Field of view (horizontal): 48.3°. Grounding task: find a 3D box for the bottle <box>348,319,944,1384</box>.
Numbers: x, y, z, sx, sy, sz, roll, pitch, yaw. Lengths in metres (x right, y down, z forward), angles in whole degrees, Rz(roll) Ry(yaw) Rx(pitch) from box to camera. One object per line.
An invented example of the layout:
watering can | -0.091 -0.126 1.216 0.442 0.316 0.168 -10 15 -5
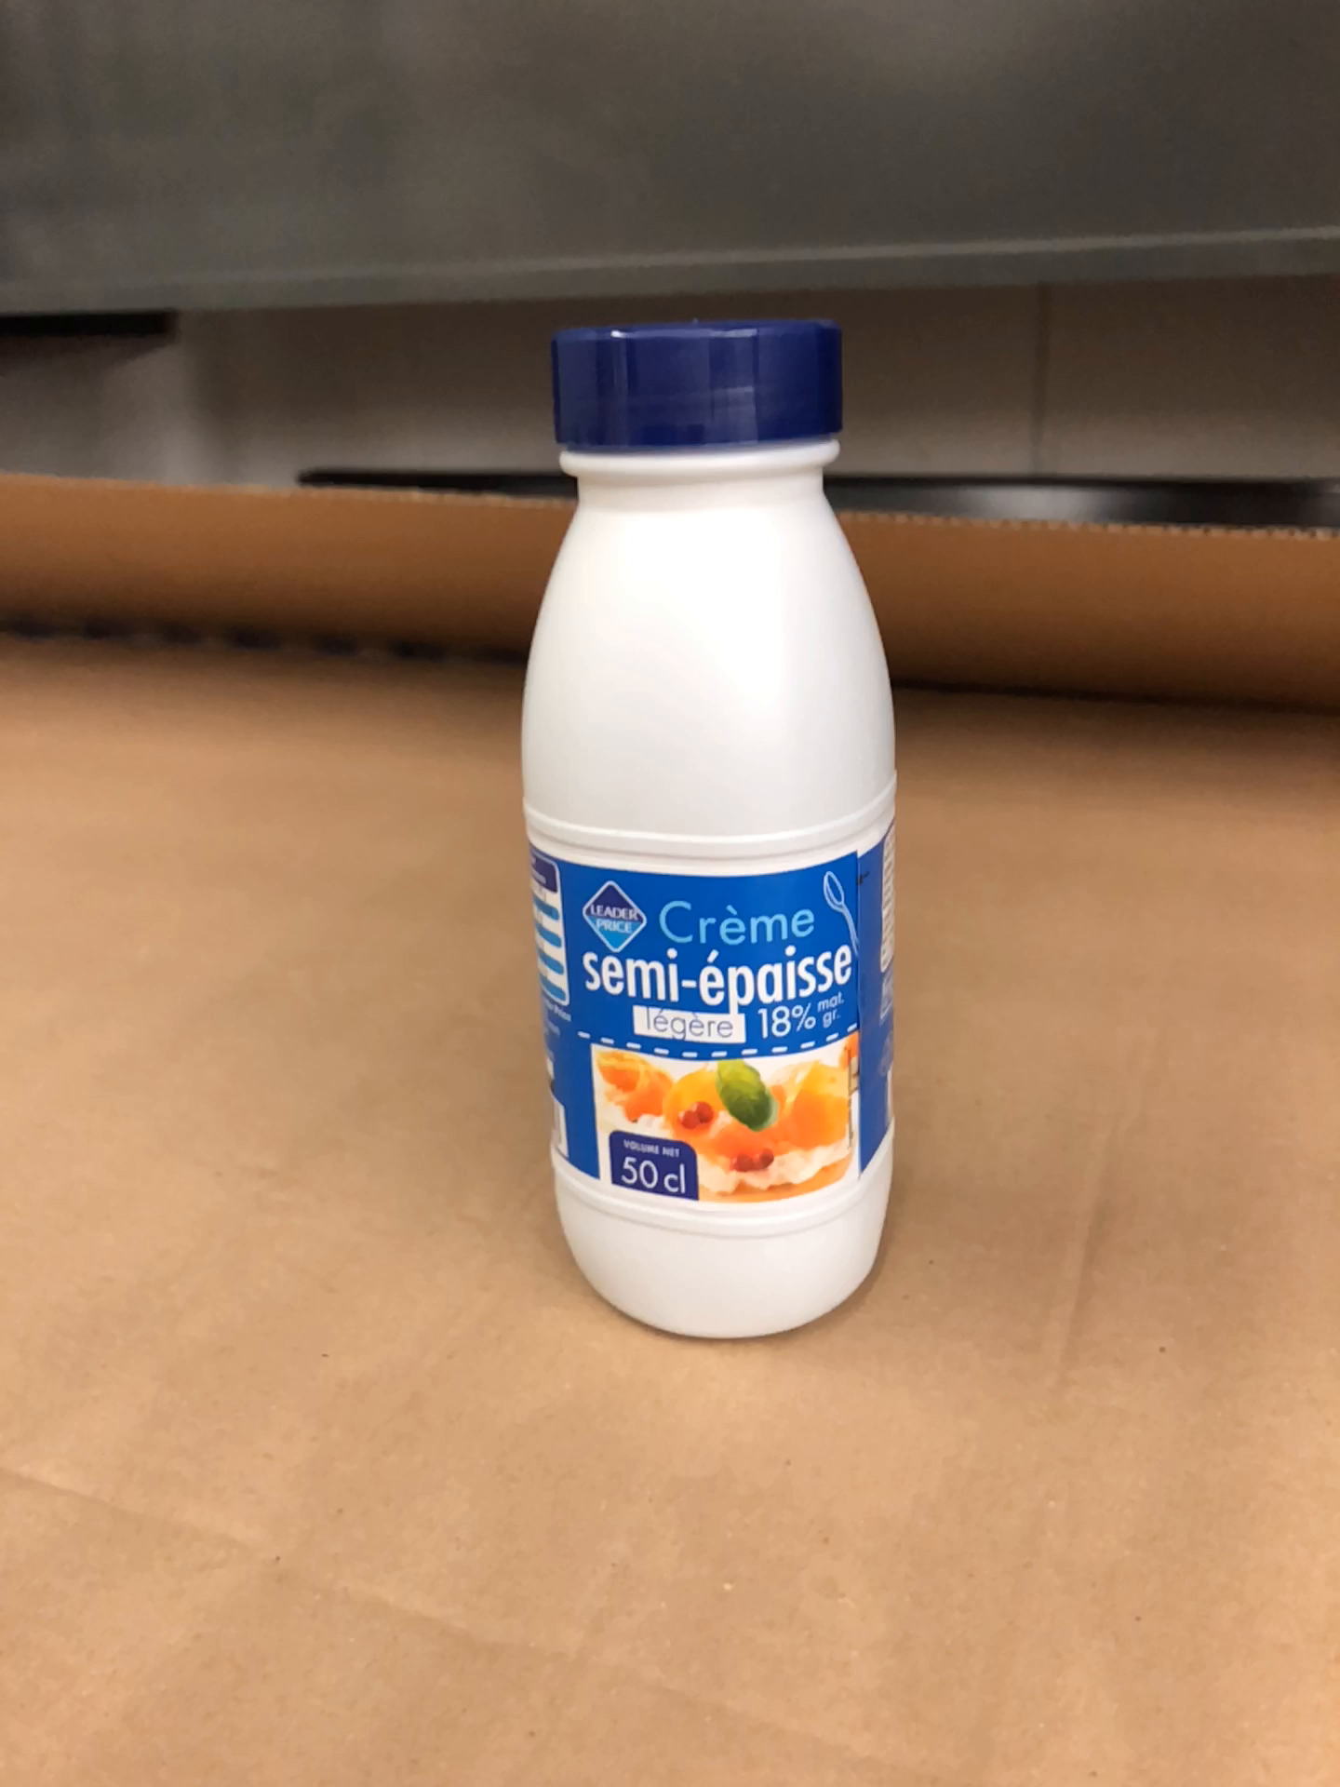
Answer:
bottle | 0.005 -0.012 0.270 0.080 0.169 0.080 -2 21 1
